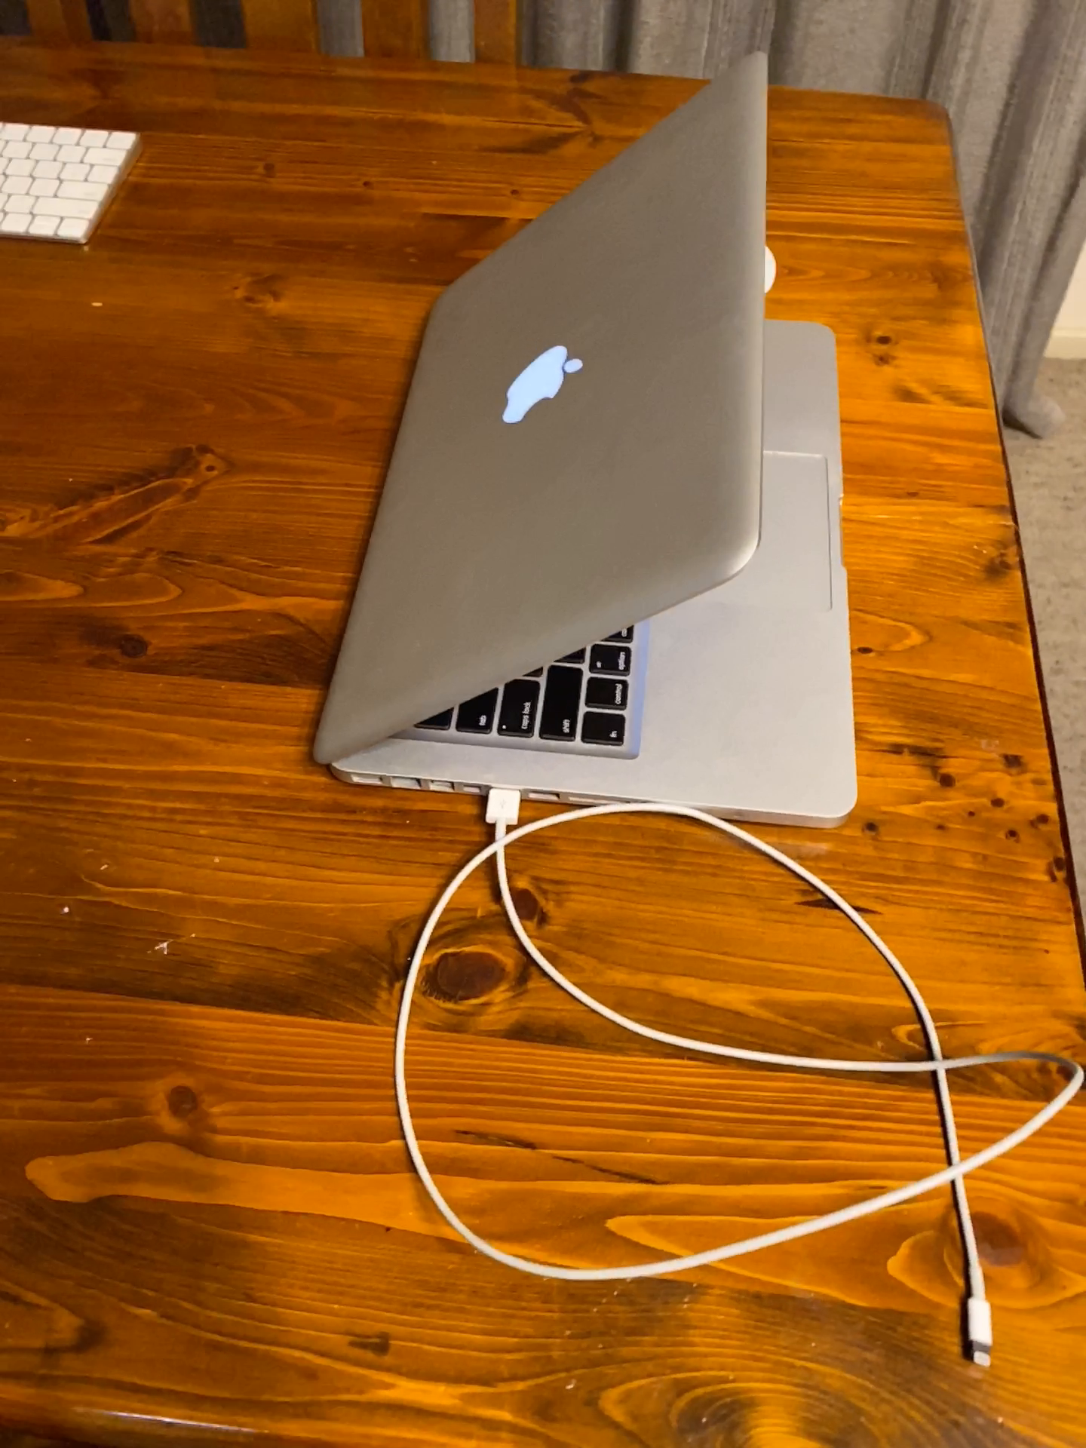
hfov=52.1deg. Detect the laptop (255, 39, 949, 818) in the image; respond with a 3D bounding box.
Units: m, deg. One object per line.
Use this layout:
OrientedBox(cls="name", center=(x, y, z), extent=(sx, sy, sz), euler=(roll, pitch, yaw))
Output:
OrientedBox(cls="laptop", center=(0.034, -0.140, 0.479), extent=(0.211, 0.136, 0.312), euler=(6, 56, 3))
